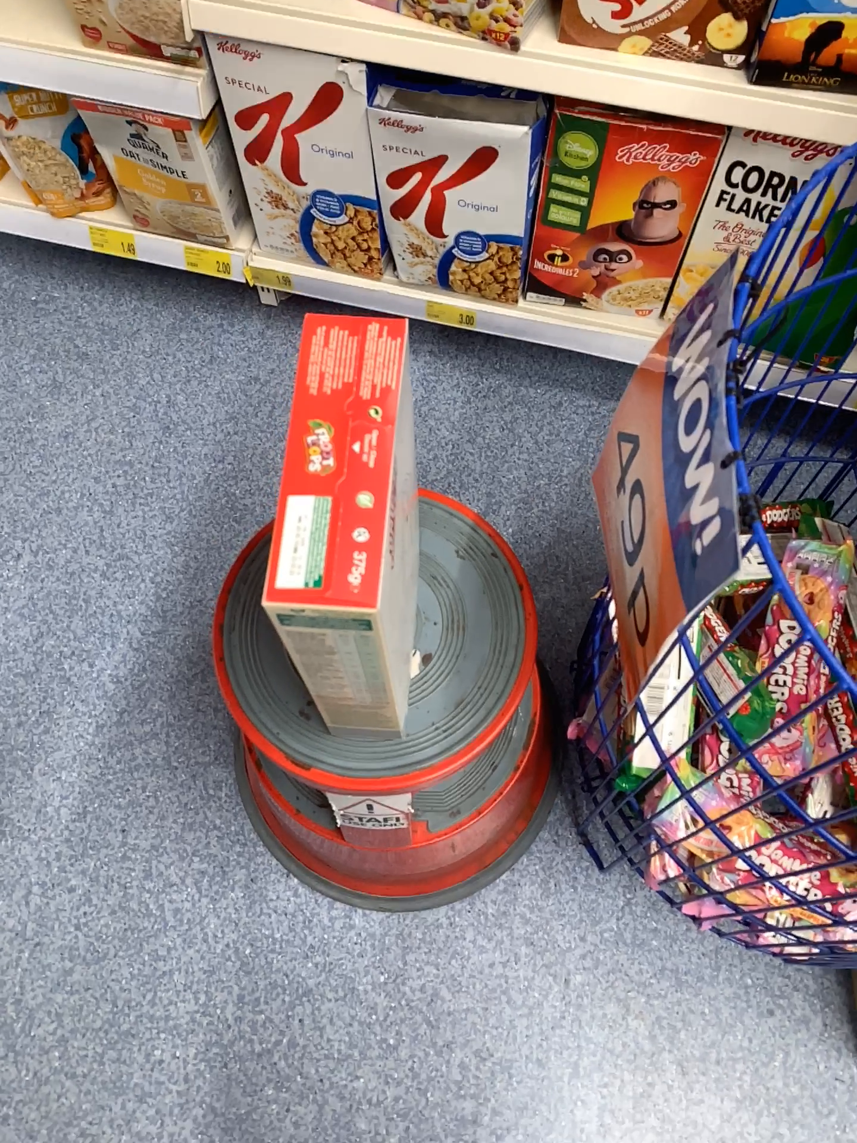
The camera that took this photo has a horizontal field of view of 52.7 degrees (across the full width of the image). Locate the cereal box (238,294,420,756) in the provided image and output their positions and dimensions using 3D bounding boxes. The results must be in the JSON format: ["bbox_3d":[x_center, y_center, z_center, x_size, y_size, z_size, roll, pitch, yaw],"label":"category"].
[{"bbox_3d":[-0.051,-0.009,0.603,0.070,0.288,0.211,4,66,2],"label":"cereal box"}]
